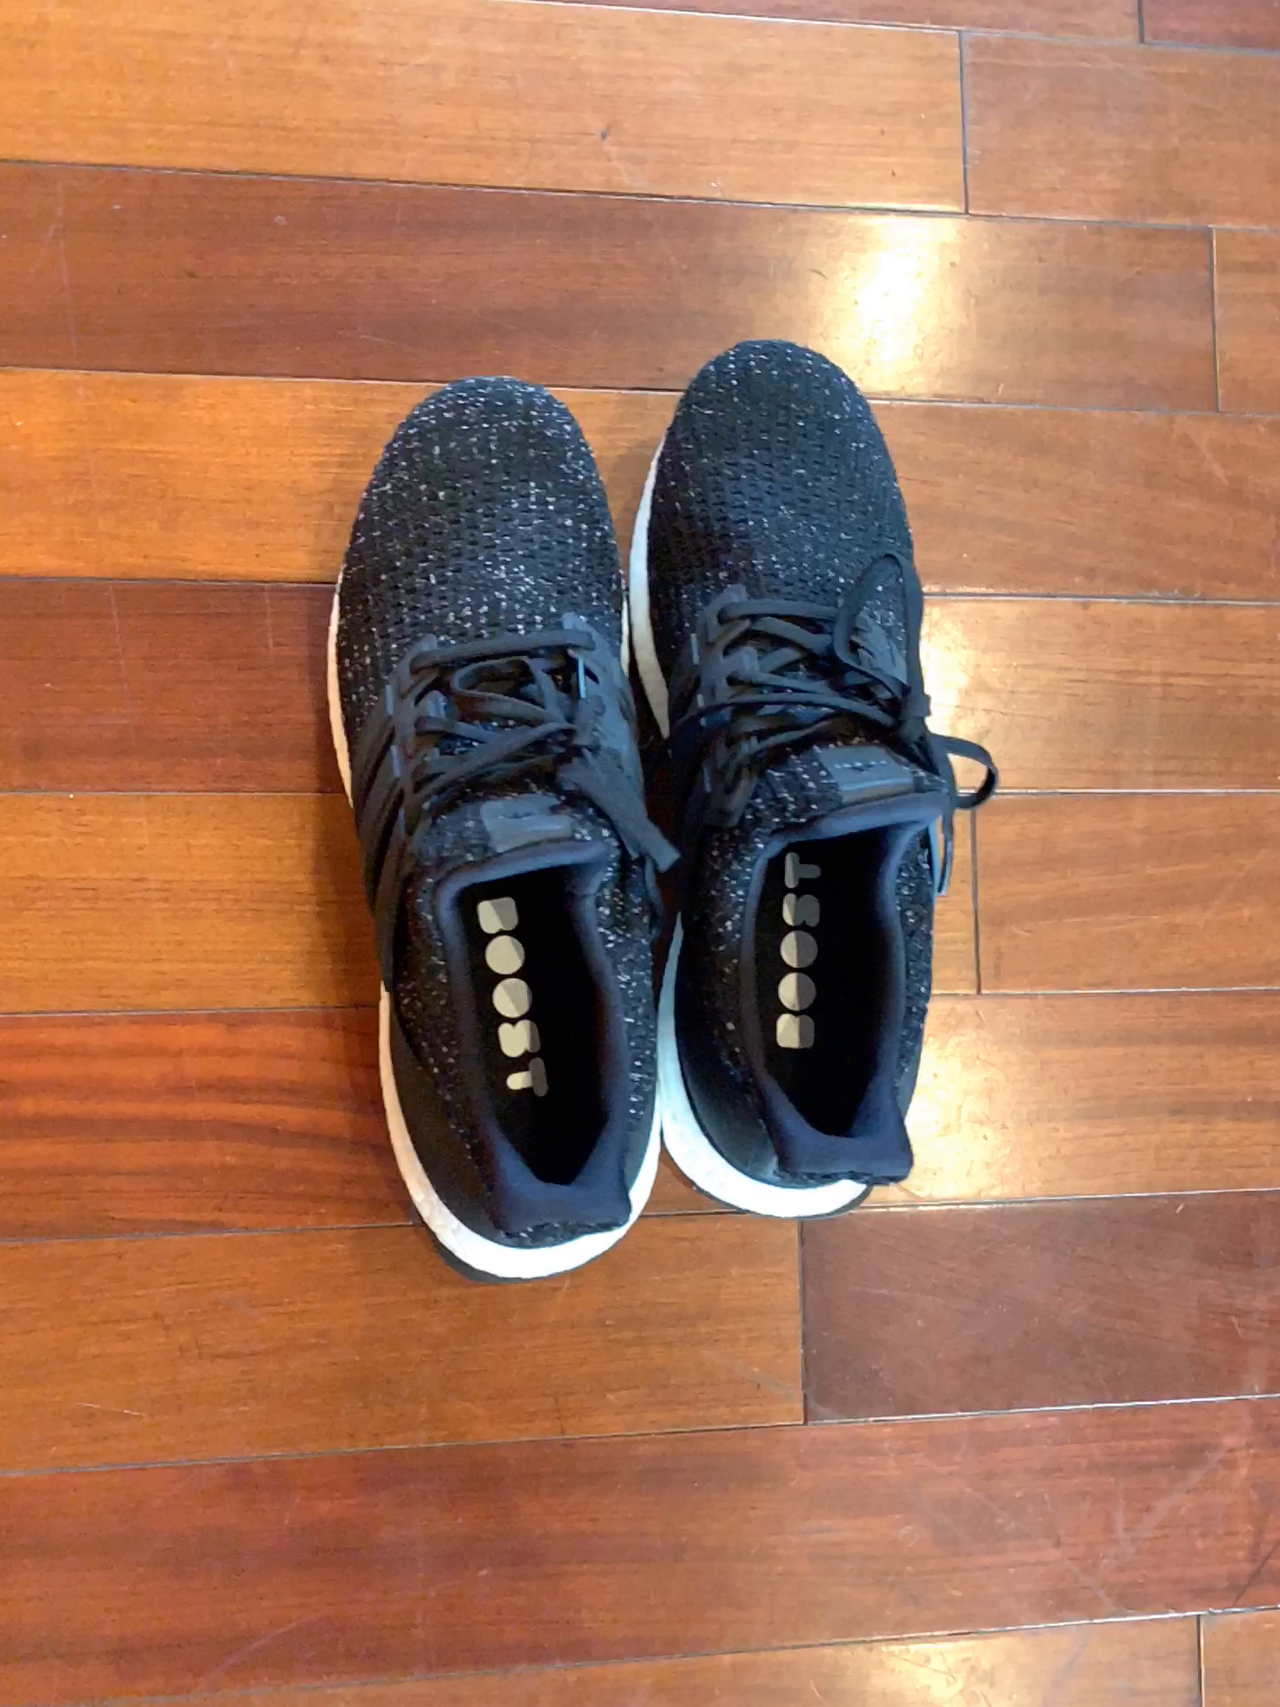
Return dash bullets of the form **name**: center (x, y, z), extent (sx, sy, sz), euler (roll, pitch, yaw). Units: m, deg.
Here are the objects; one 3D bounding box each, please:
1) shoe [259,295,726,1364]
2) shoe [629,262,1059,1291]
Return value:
- **shoe**: center (-0.049, -0.010, 0.424), extent (0.110, 0.100, 0.300), euler (-4, 86, -8)
- **shoe**: center (0.057, -0.021, 0.422), extent (0.110, 0.100, 0.290), euler (1, 85, -7)
